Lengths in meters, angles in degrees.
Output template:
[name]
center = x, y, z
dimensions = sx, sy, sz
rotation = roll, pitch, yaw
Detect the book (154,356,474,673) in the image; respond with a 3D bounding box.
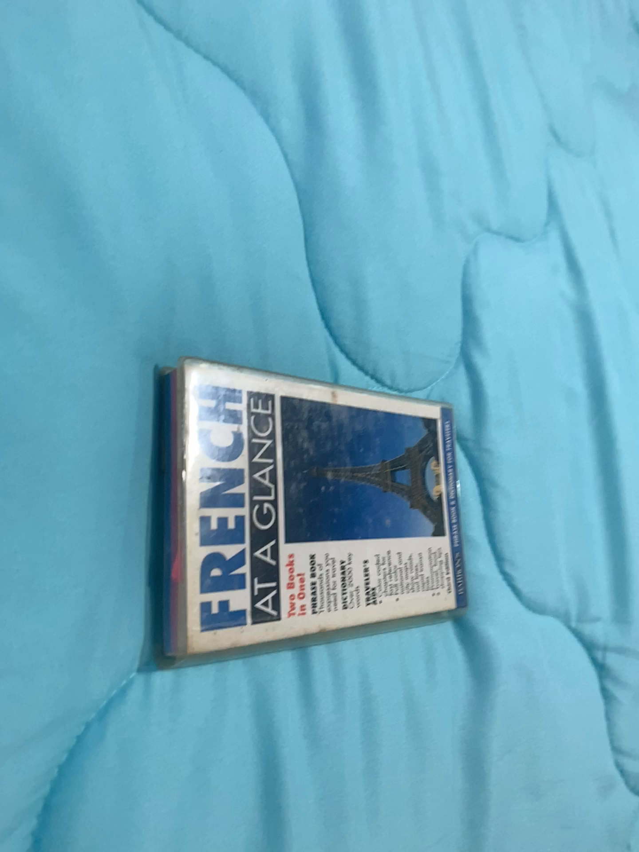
[book]
center = 0.008, 0.032, 0.266
dimensions = 0.154, 0.017, 0.099
rotation = 5, 78, -44
